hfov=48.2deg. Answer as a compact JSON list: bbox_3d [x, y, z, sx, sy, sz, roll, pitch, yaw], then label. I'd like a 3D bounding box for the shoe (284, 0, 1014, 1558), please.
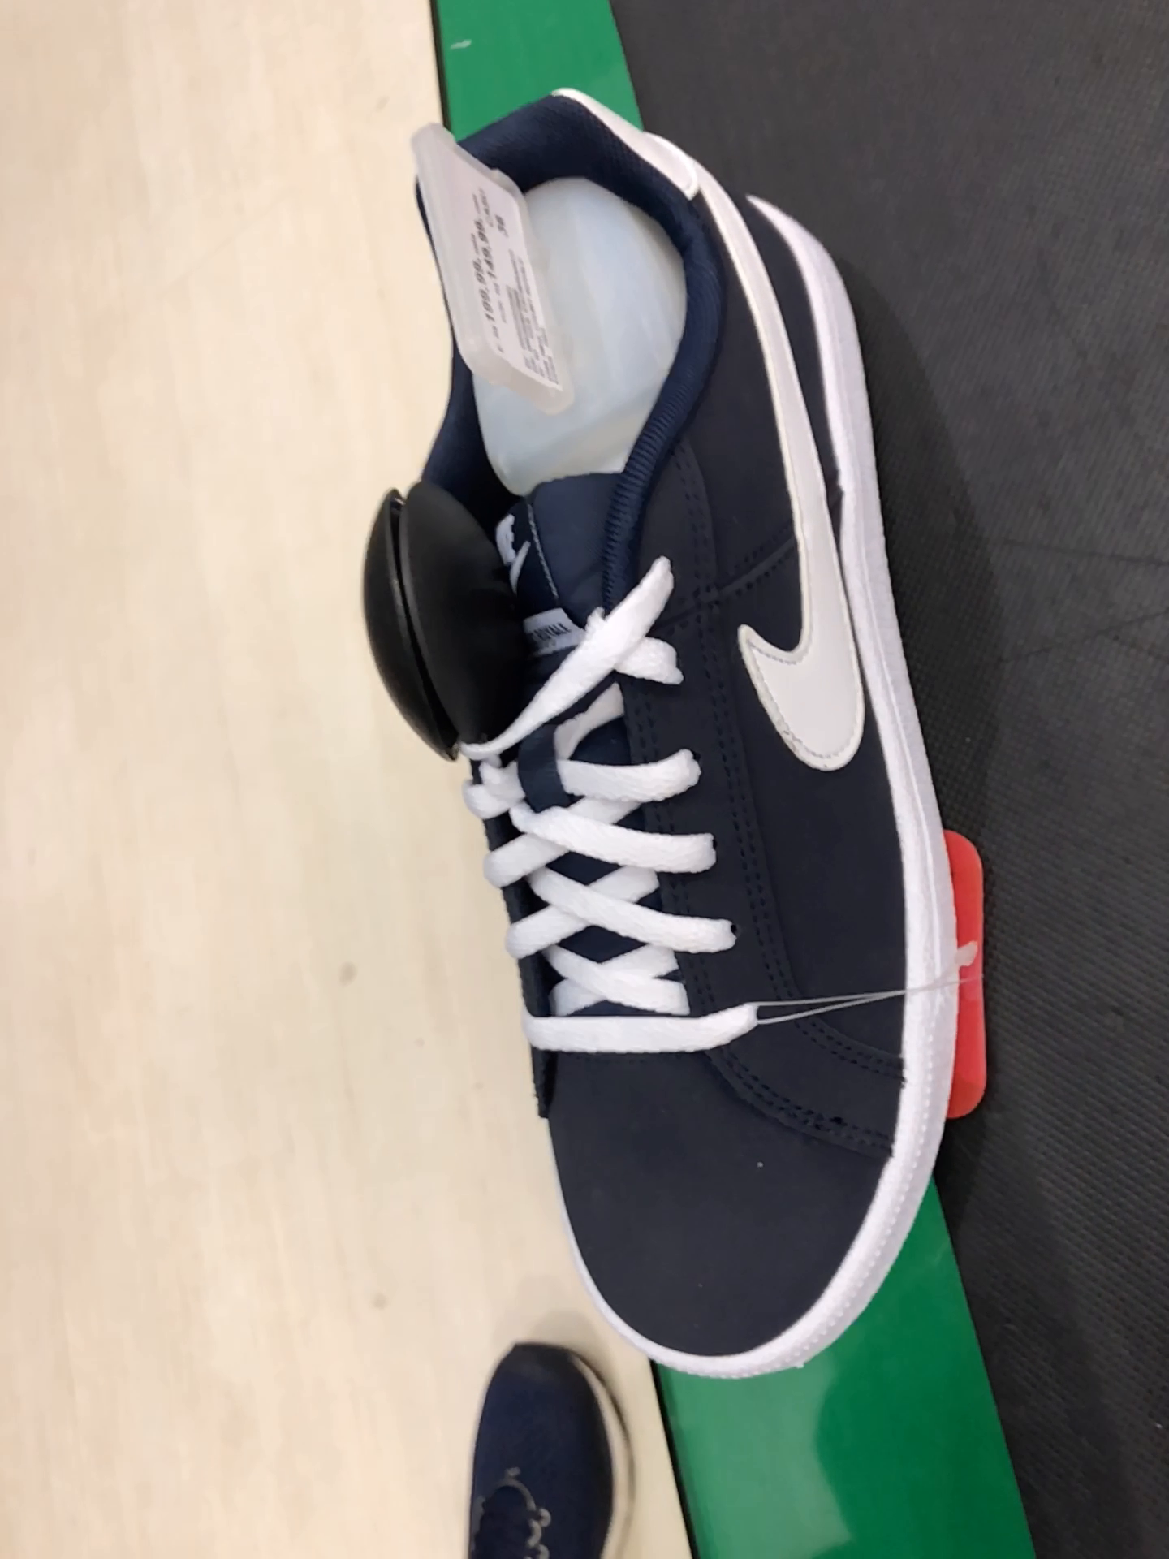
[{"bbox_3d":[0.011,-0.001,0.269,0.110,0.090,0.250,-6,81,35],"label":"shoe"}]
